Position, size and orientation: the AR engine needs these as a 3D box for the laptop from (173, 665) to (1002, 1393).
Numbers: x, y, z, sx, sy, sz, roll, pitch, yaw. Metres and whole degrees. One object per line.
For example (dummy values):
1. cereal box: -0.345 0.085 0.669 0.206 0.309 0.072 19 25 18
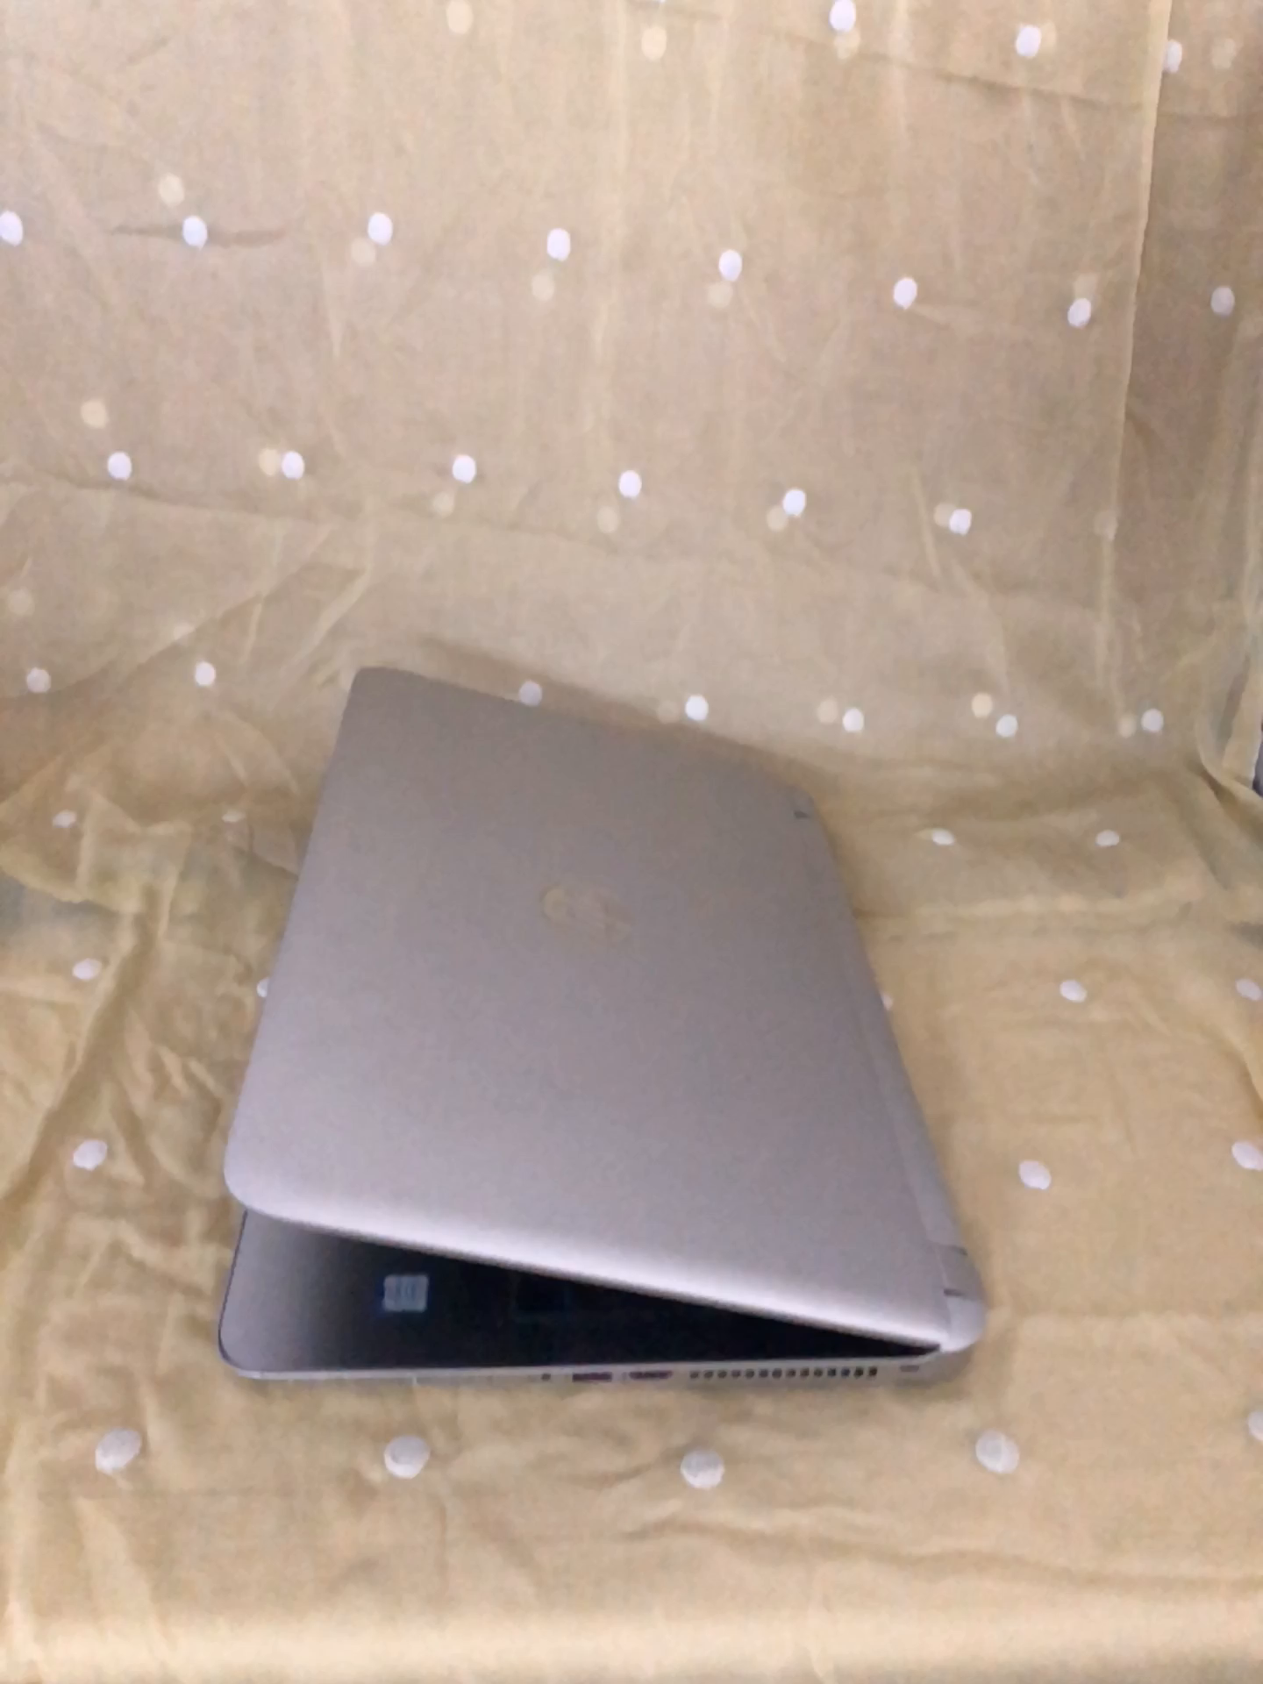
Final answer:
1. laptop: -0.021 0.042 0.583 0.243 0.077 0.367 1 32 -4
